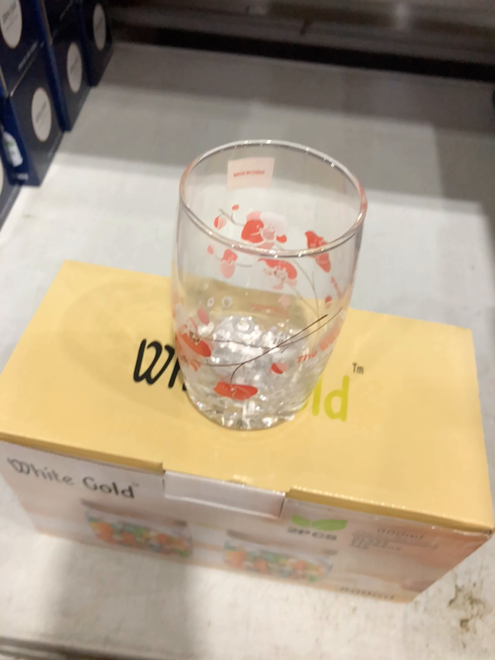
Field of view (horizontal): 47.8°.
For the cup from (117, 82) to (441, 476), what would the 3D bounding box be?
[{"bbox_3d":[0.012,-0.016,0.216,0.080,0.109,0.080,2,52,-3],"label":"cup"}]
